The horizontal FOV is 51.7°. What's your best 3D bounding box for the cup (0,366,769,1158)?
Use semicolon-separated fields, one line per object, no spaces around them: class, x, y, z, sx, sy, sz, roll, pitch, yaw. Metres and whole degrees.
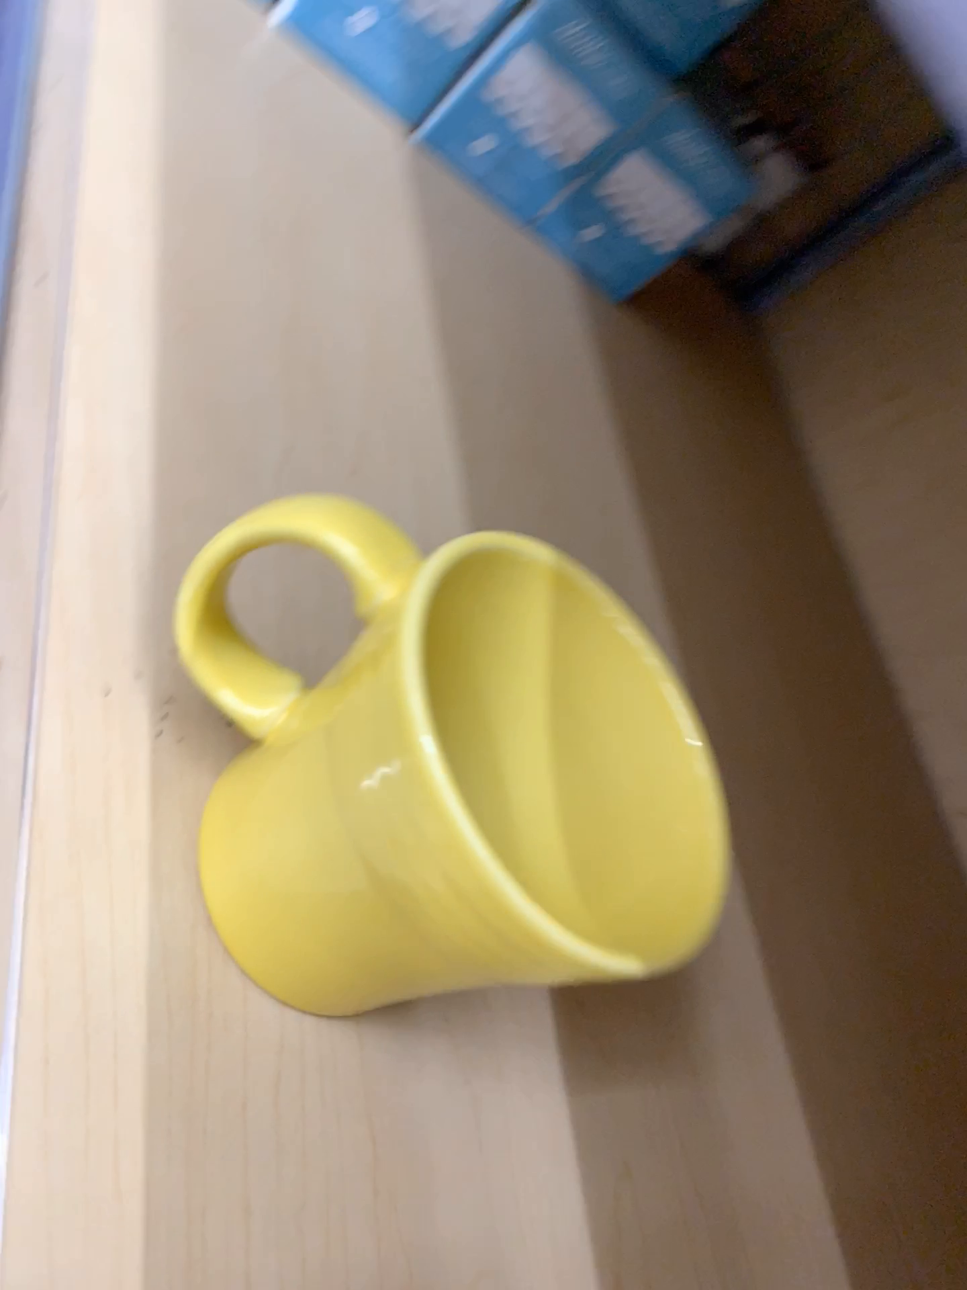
cup;-0.013;0.029;0.245;0.139;0.088;0.104;48;36;-14
